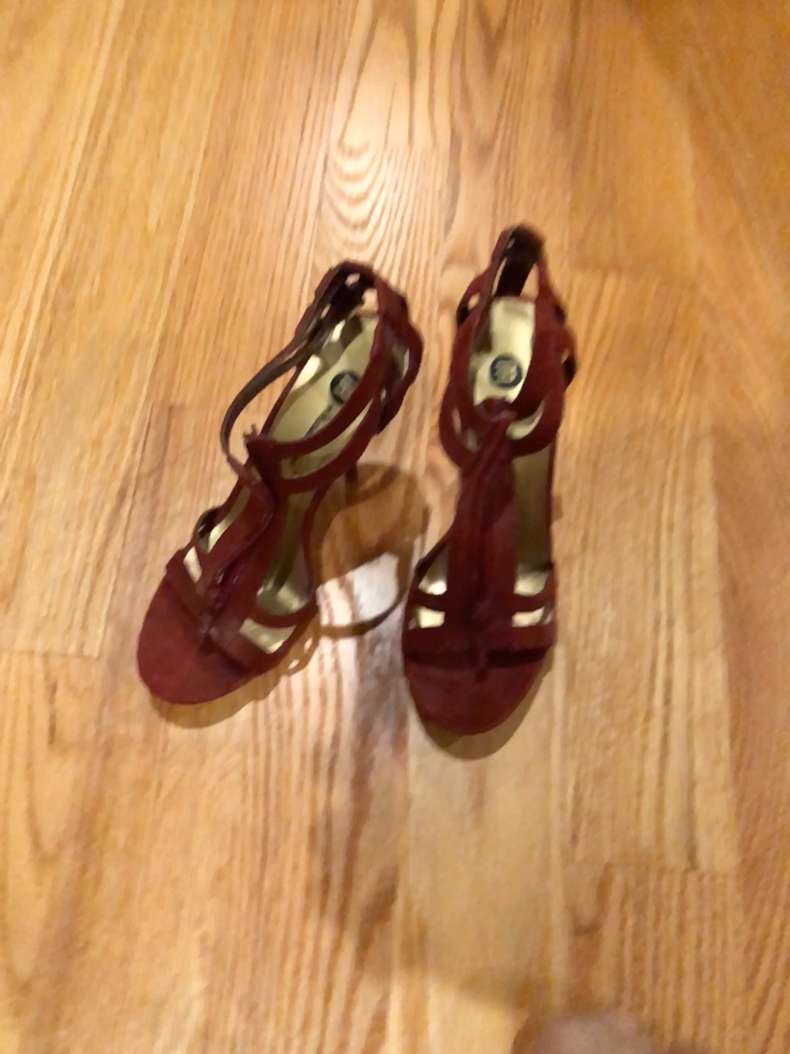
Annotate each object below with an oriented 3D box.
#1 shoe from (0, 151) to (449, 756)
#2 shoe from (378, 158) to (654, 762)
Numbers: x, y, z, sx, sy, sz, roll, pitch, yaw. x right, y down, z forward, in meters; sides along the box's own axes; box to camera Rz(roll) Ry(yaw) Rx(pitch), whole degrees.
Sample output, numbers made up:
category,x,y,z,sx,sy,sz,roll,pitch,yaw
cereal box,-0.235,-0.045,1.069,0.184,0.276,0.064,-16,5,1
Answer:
category,x,y,z,sx,sy,sz,roll,pitch,yaw
shoe,-0.068,-0.020,0.394,0.085,0.176,0.199,29,70,11
shoe,0.042,-0.016,0.390,0.085,0.176,0.207,4,67,0
